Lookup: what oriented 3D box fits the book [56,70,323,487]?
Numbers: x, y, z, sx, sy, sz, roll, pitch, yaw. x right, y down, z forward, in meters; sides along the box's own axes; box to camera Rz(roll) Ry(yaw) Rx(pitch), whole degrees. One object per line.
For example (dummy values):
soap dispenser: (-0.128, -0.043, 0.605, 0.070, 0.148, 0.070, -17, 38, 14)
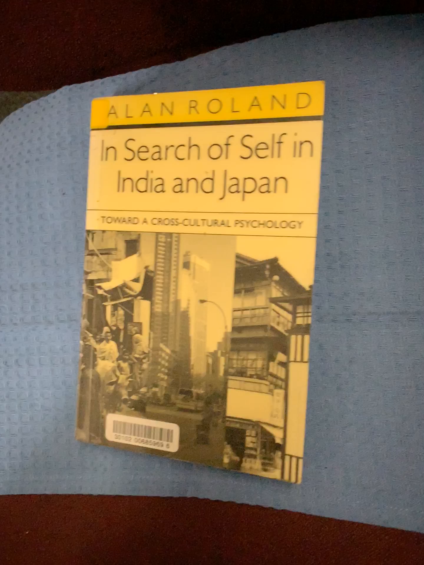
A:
book: (-0.017, -0.007, 0.281, 0.155, 0.032, 0.232, 3, 90, 17)
